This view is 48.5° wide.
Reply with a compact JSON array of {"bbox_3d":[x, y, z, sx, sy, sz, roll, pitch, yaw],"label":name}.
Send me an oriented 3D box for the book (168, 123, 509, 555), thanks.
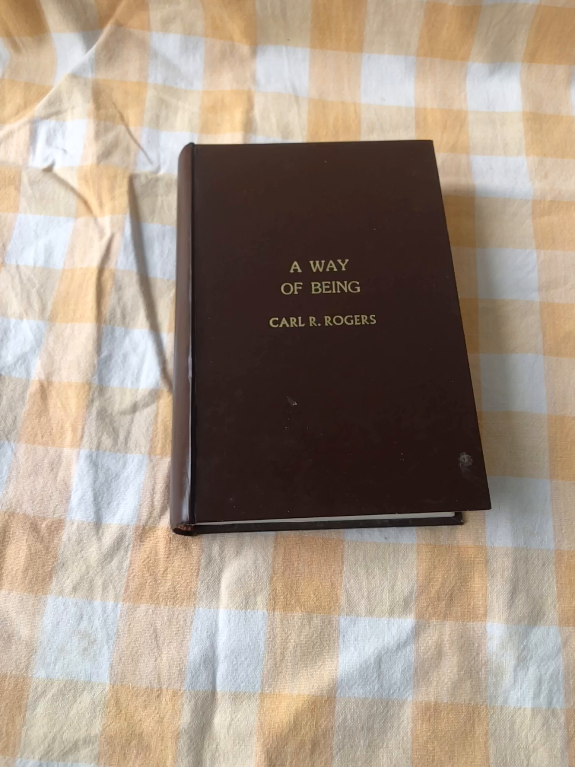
[{"bbox_3d":[0.016,-0.027,0.327,0.140,0.060,0.210,-2,69,-2],"label":"book"}]
